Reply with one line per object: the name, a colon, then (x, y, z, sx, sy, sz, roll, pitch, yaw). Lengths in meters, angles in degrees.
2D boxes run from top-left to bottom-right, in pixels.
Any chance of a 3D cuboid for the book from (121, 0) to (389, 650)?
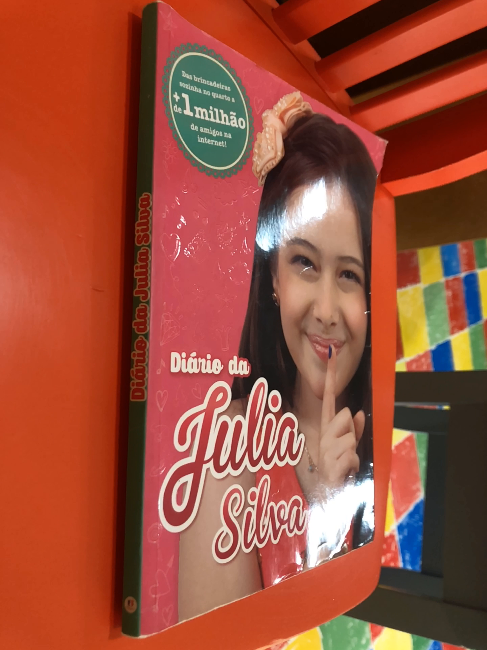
book: (0.021, -0.005, 0.262, 0.172, 0.020, 0.241, 9, 79, -50)
